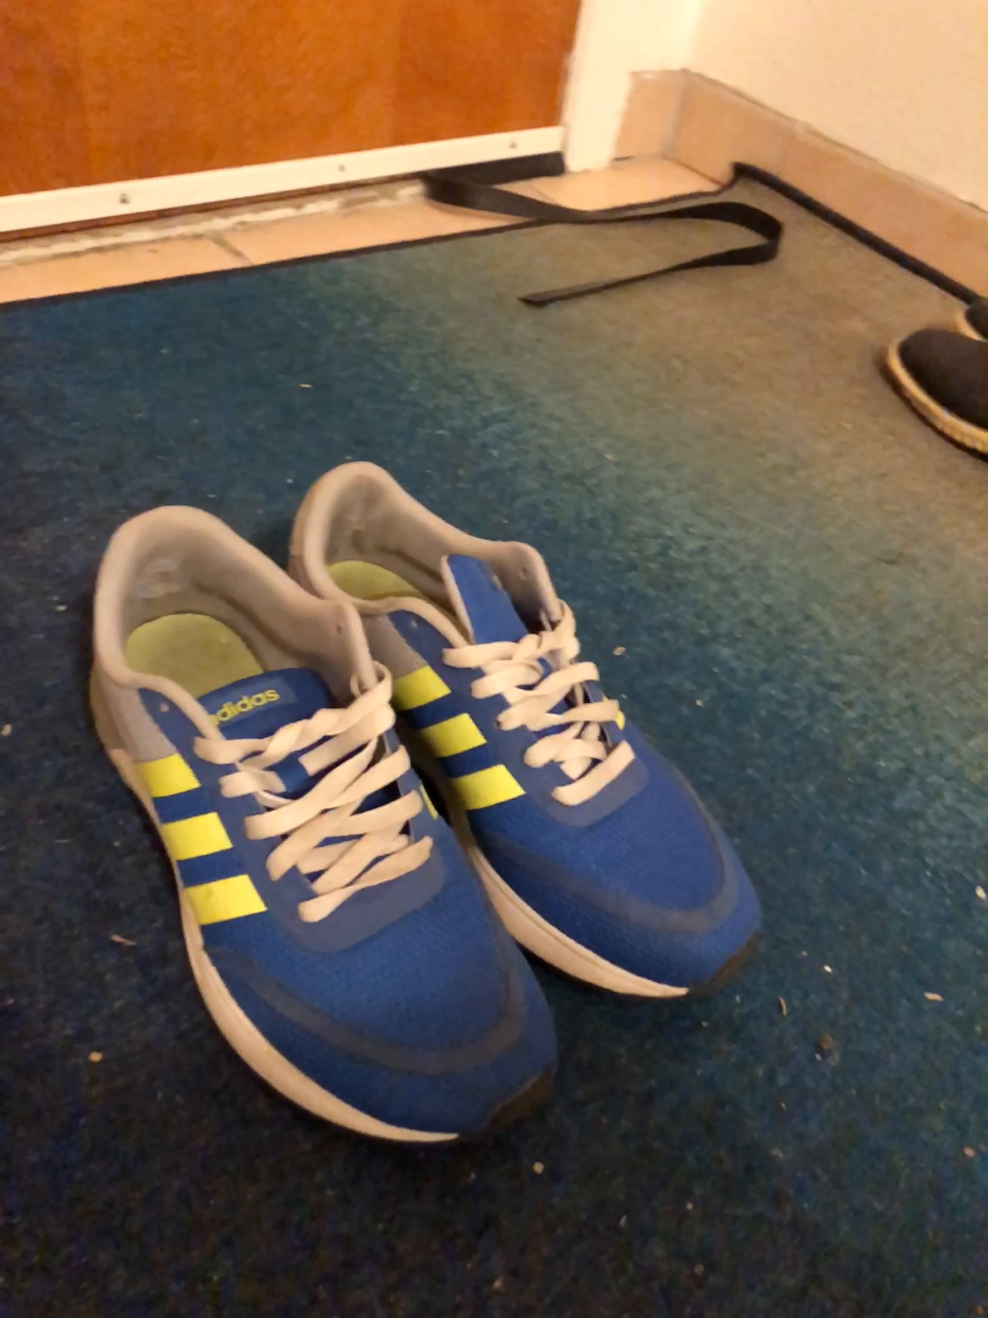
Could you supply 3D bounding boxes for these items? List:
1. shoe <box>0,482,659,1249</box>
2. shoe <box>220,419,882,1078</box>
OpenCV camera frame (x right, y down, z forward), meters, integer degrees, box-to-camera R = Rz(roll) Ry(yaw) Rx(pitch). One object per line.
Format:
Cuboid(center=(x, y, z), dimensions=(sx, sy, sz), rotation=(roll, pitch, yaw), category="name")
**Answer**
Cuboid(center=(-0.080, 0.053, 0.401), dimensions=(0.110, 0.089, 0.261), rotation=(-25, 53, -33), category="shoe")
Cuboid(center=(0.004, 0.016, 0.444), dimensions=(0.110, 0.089, 0.261), rotation=(-25, 53, -33), category="shoe")
